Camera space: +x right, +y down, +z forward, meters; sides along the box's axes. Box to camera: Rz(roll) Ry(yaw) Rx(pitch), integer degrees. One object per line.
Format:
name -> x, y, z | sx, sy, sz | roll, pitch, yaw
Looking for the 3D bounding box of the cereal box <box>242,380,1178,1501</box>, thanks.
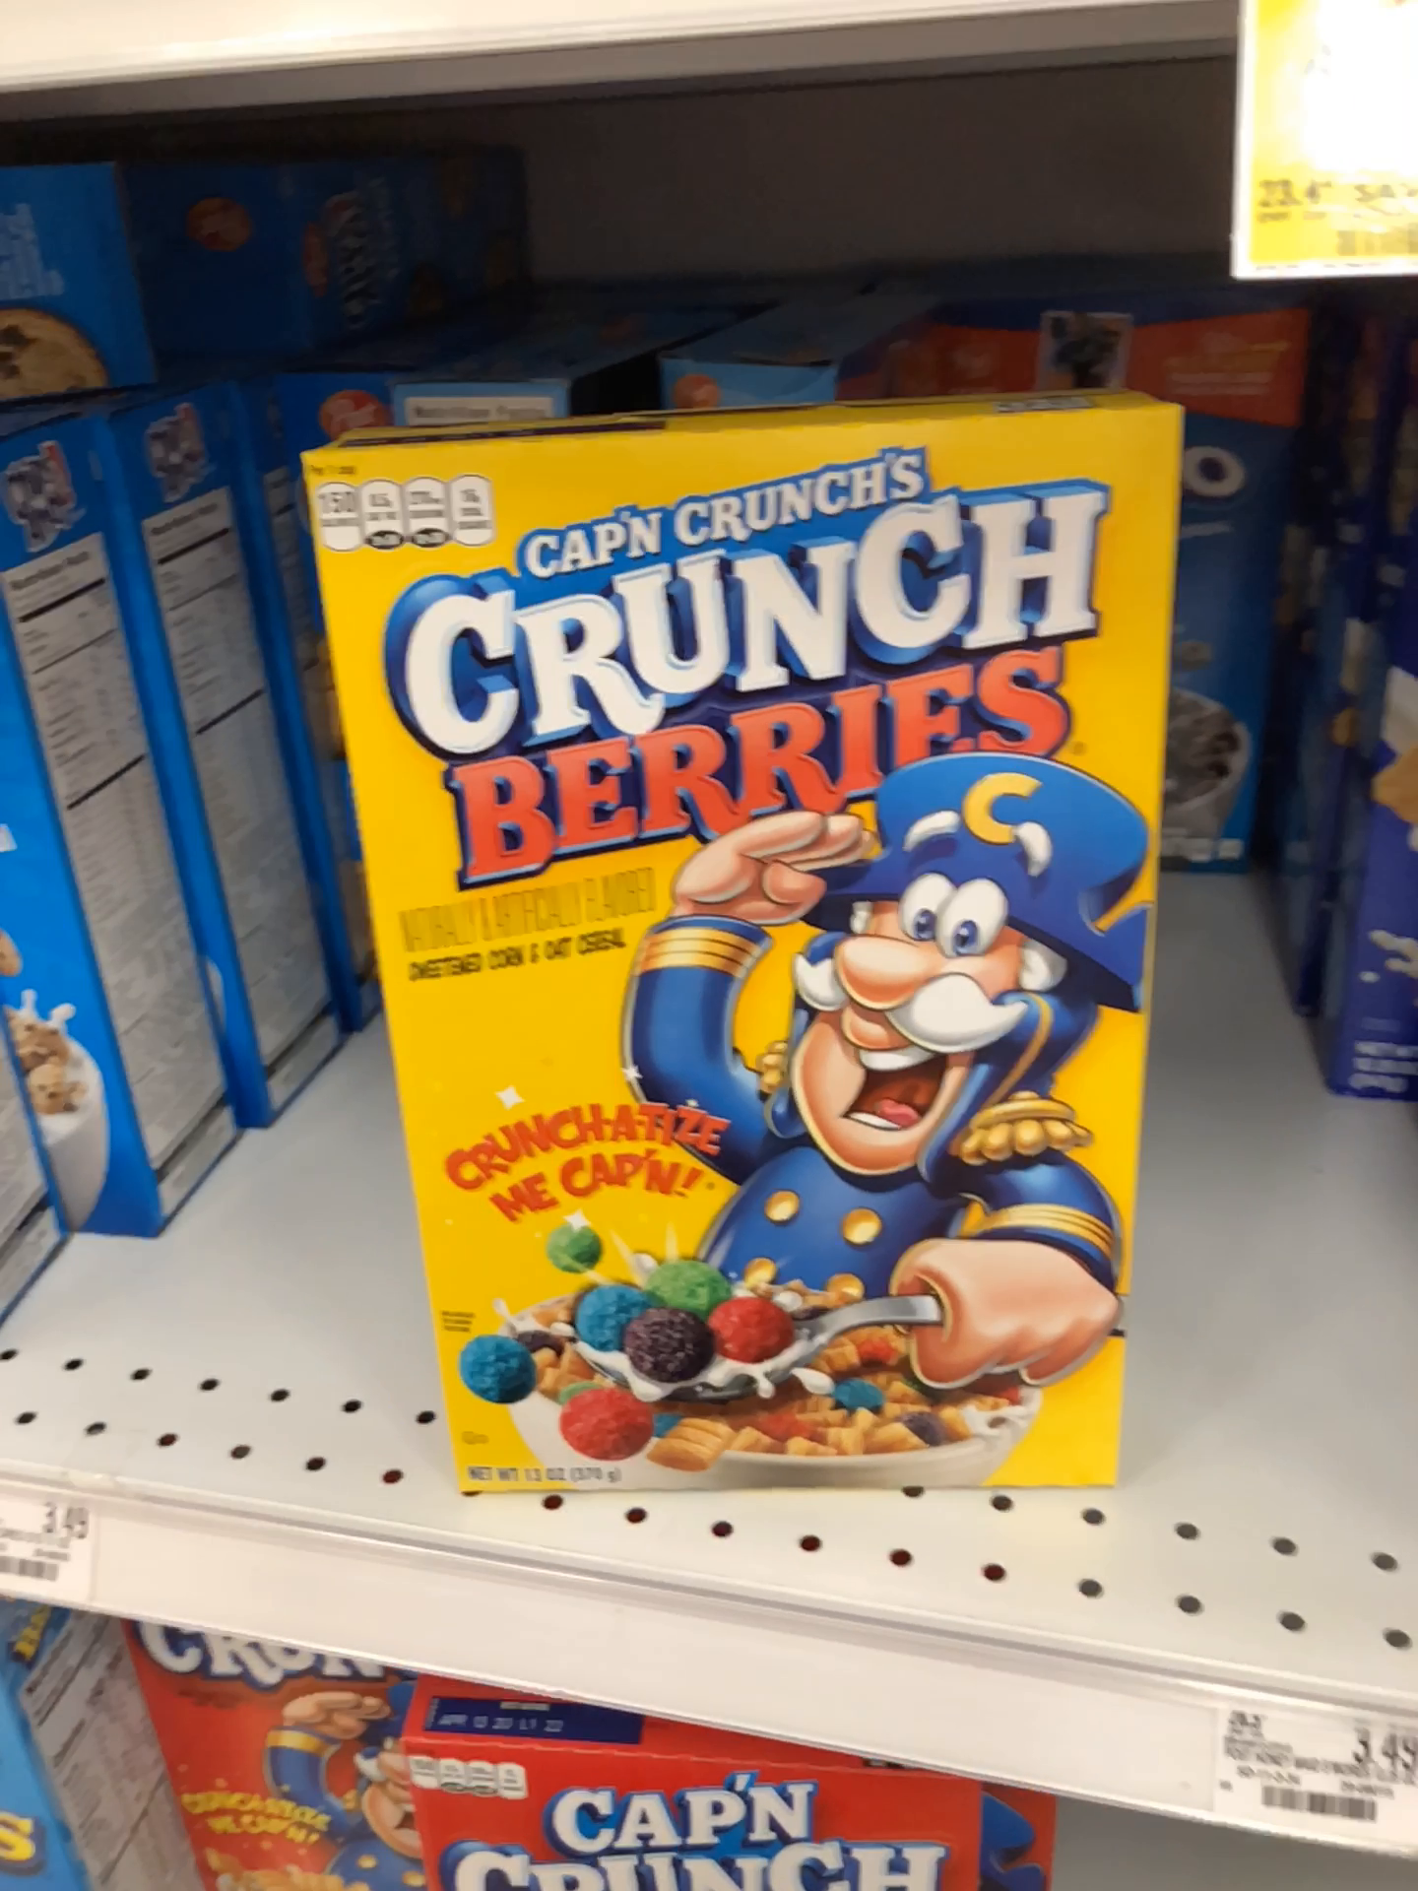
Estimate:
cereal box -> 0.008, 0.011, 0.418 | 0.200, 0.289, 0.060 | -2, 22, 4
